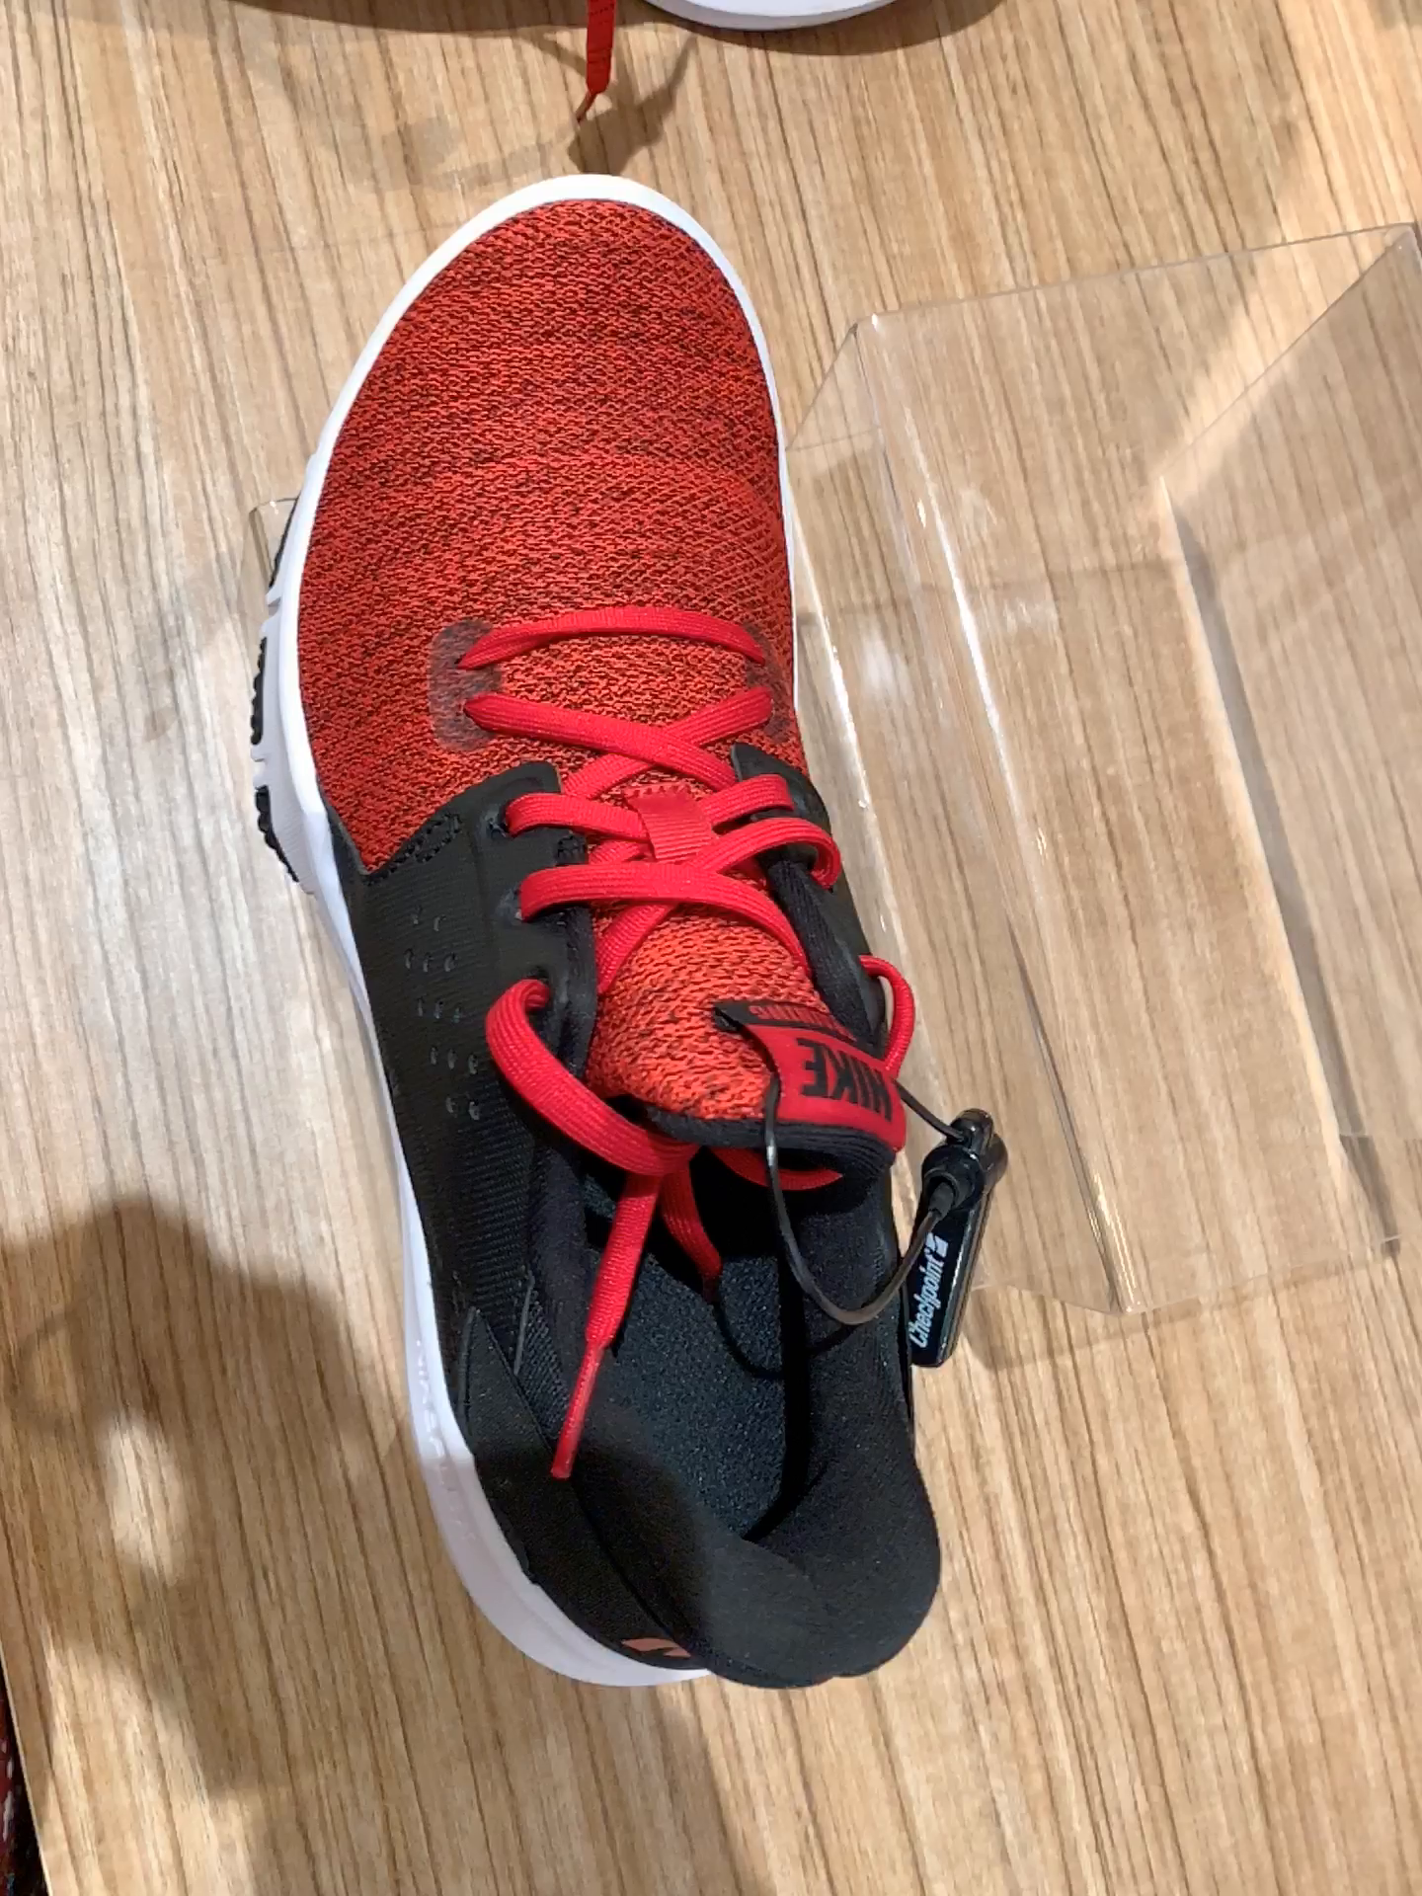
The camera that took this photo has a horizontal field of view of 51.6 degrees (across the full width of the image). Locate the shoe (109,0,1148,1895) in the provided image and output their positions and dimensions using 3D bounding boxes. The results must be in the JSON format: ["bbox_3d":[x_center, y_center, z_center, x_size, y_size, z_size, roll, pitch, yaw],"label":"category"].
[{"bbox_3d":[-0.021,-0.011,0.249,0.110,0.080,0.290,-7,84,-15],"label":"shoe"}]
